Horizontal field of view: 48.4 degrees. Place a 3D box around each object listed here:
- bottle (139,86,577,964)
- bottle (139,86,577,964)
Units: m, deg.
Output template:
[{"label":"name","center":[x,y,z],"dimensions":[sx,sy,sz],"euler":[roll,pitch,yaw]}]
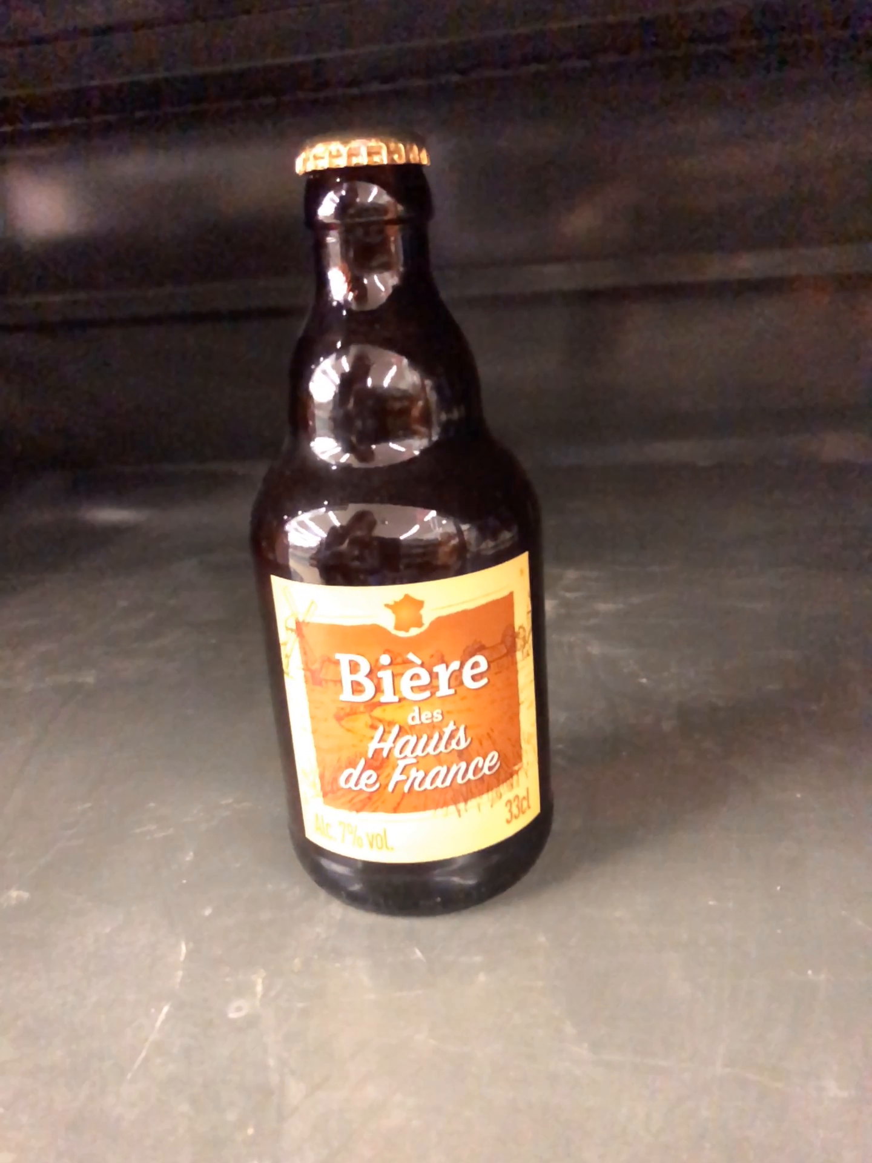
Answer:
[{"label":"bottle","center":[-0.010,-0.010,0.230],"dimensions":[0.070,0.179,0.070],"euler":[-4,18,1]},{"label":"bottle","center":[-0.010,-0.010,0.230],"dimensions":[0.070,0.179,0.070],"euler":[-4,18,1]}]
